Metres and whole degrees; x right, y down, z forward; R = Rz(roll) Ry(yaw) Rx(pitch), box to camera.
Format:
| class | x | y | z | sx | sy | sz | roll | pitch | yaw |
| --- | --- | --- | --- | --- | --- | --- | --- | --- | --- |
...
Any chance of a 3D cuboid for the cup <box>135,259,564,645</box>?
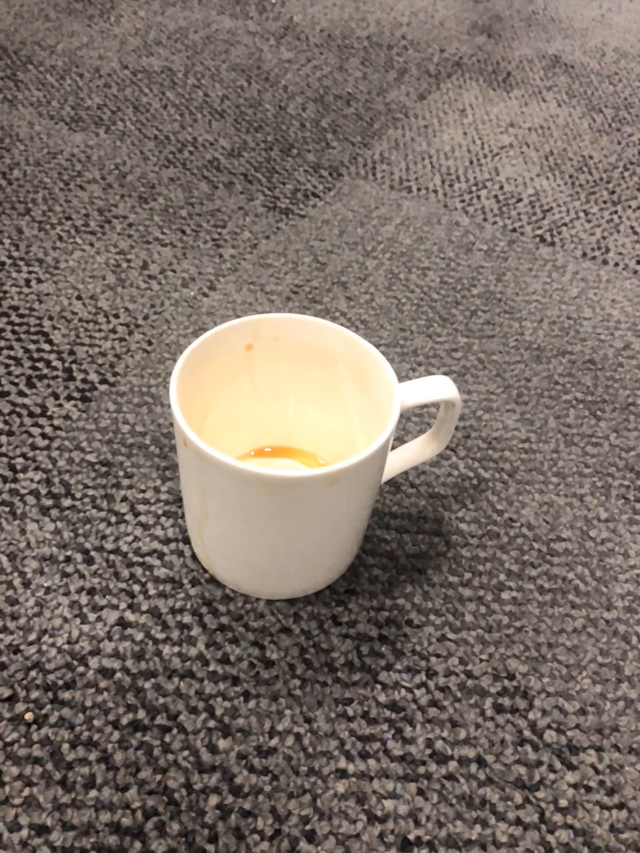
| class | x | y | z | sx | sy | sz | roll | pitch | yaw |
| --- | --- | --- | --- | --- | --- | --- | --- | --- | --- |
| cup | 0.004 | 0.005 | 0.225 | 0.100 | 0.070 | 0.070 | -15 | 51 | -20 |
